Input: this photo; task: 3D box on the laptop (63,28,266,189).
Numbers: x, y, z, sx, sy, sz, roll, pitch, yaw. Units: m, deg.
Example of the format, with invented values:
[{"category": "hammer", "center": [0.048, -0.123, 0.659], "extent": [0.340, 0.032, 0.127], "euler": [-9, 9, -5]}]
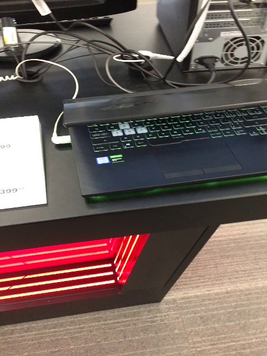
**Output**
[{"category": "laptop", "center": [0.112, -0.129, 0.580], "extent": [0.400, 0.121, 0.248], "euler": [-8, 47, -7]}]
